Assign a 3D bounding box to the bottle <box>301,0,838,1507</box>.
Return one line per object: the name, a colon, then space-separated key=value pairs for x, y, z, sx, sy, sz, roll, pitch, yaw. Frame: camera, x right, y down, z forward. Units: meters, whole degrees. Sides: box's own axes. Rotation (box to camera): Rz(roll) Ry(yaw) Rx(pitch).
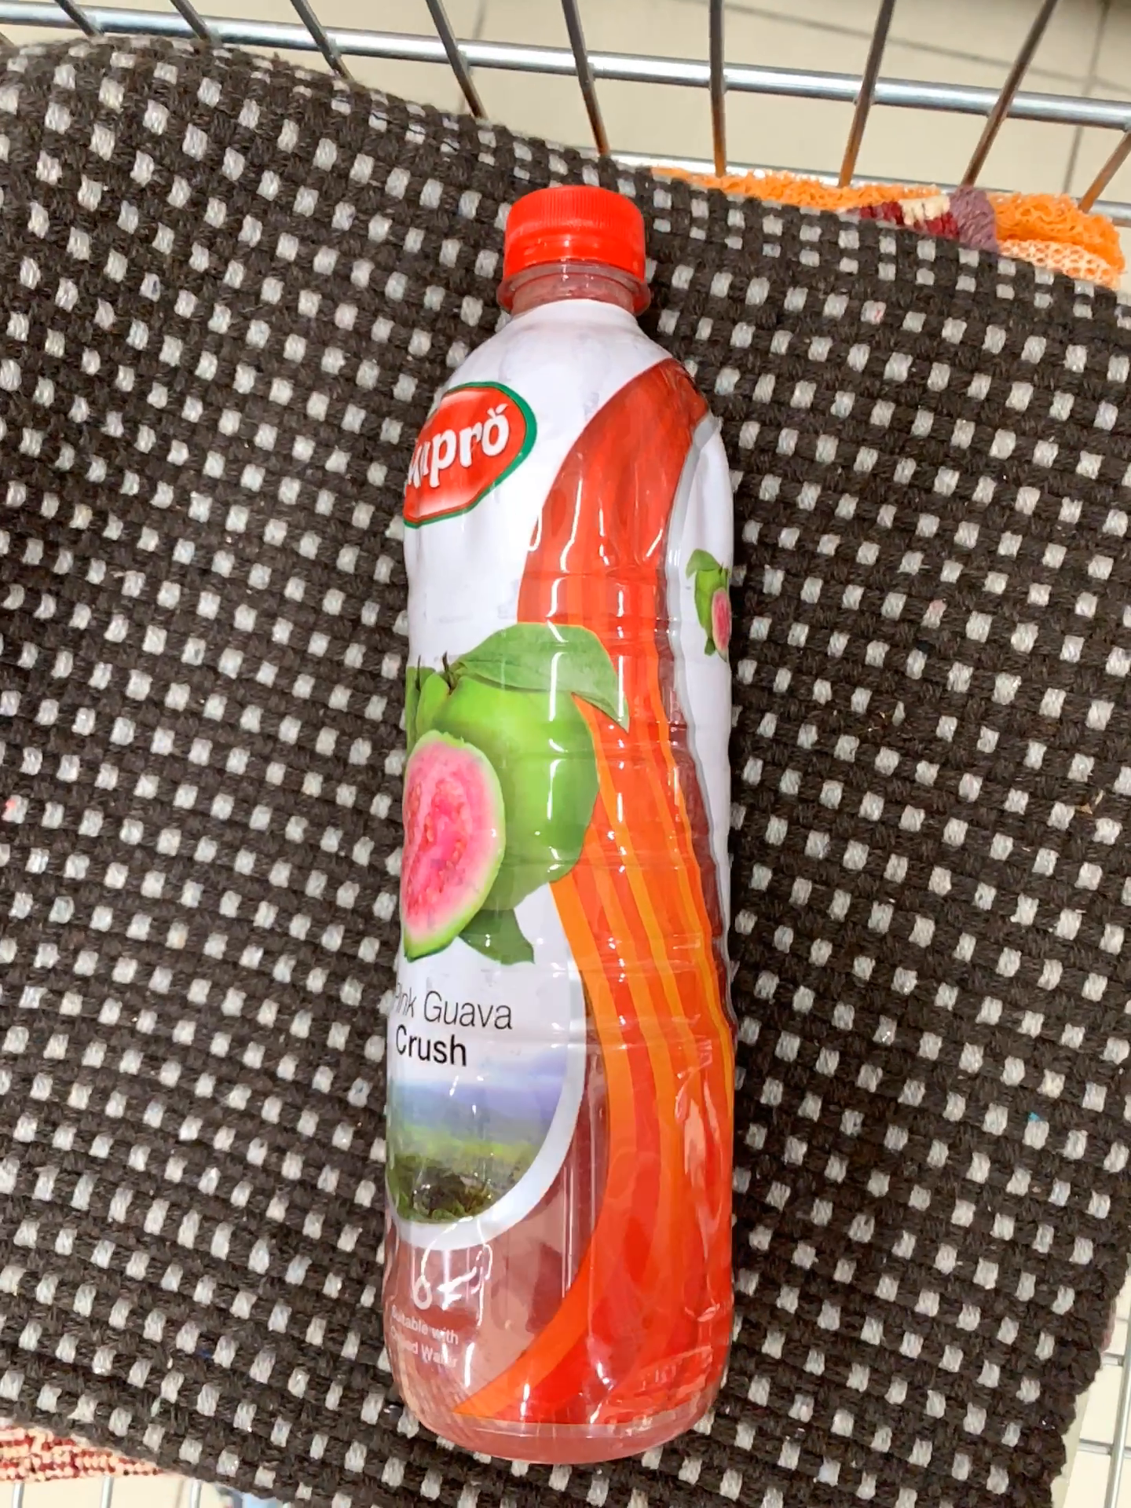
bottle: x=0.002 y=0.000 z=0.228 sx=0.070 sy=0.070 sz=0.240 roll=6 pitch=82 yaw=-41
